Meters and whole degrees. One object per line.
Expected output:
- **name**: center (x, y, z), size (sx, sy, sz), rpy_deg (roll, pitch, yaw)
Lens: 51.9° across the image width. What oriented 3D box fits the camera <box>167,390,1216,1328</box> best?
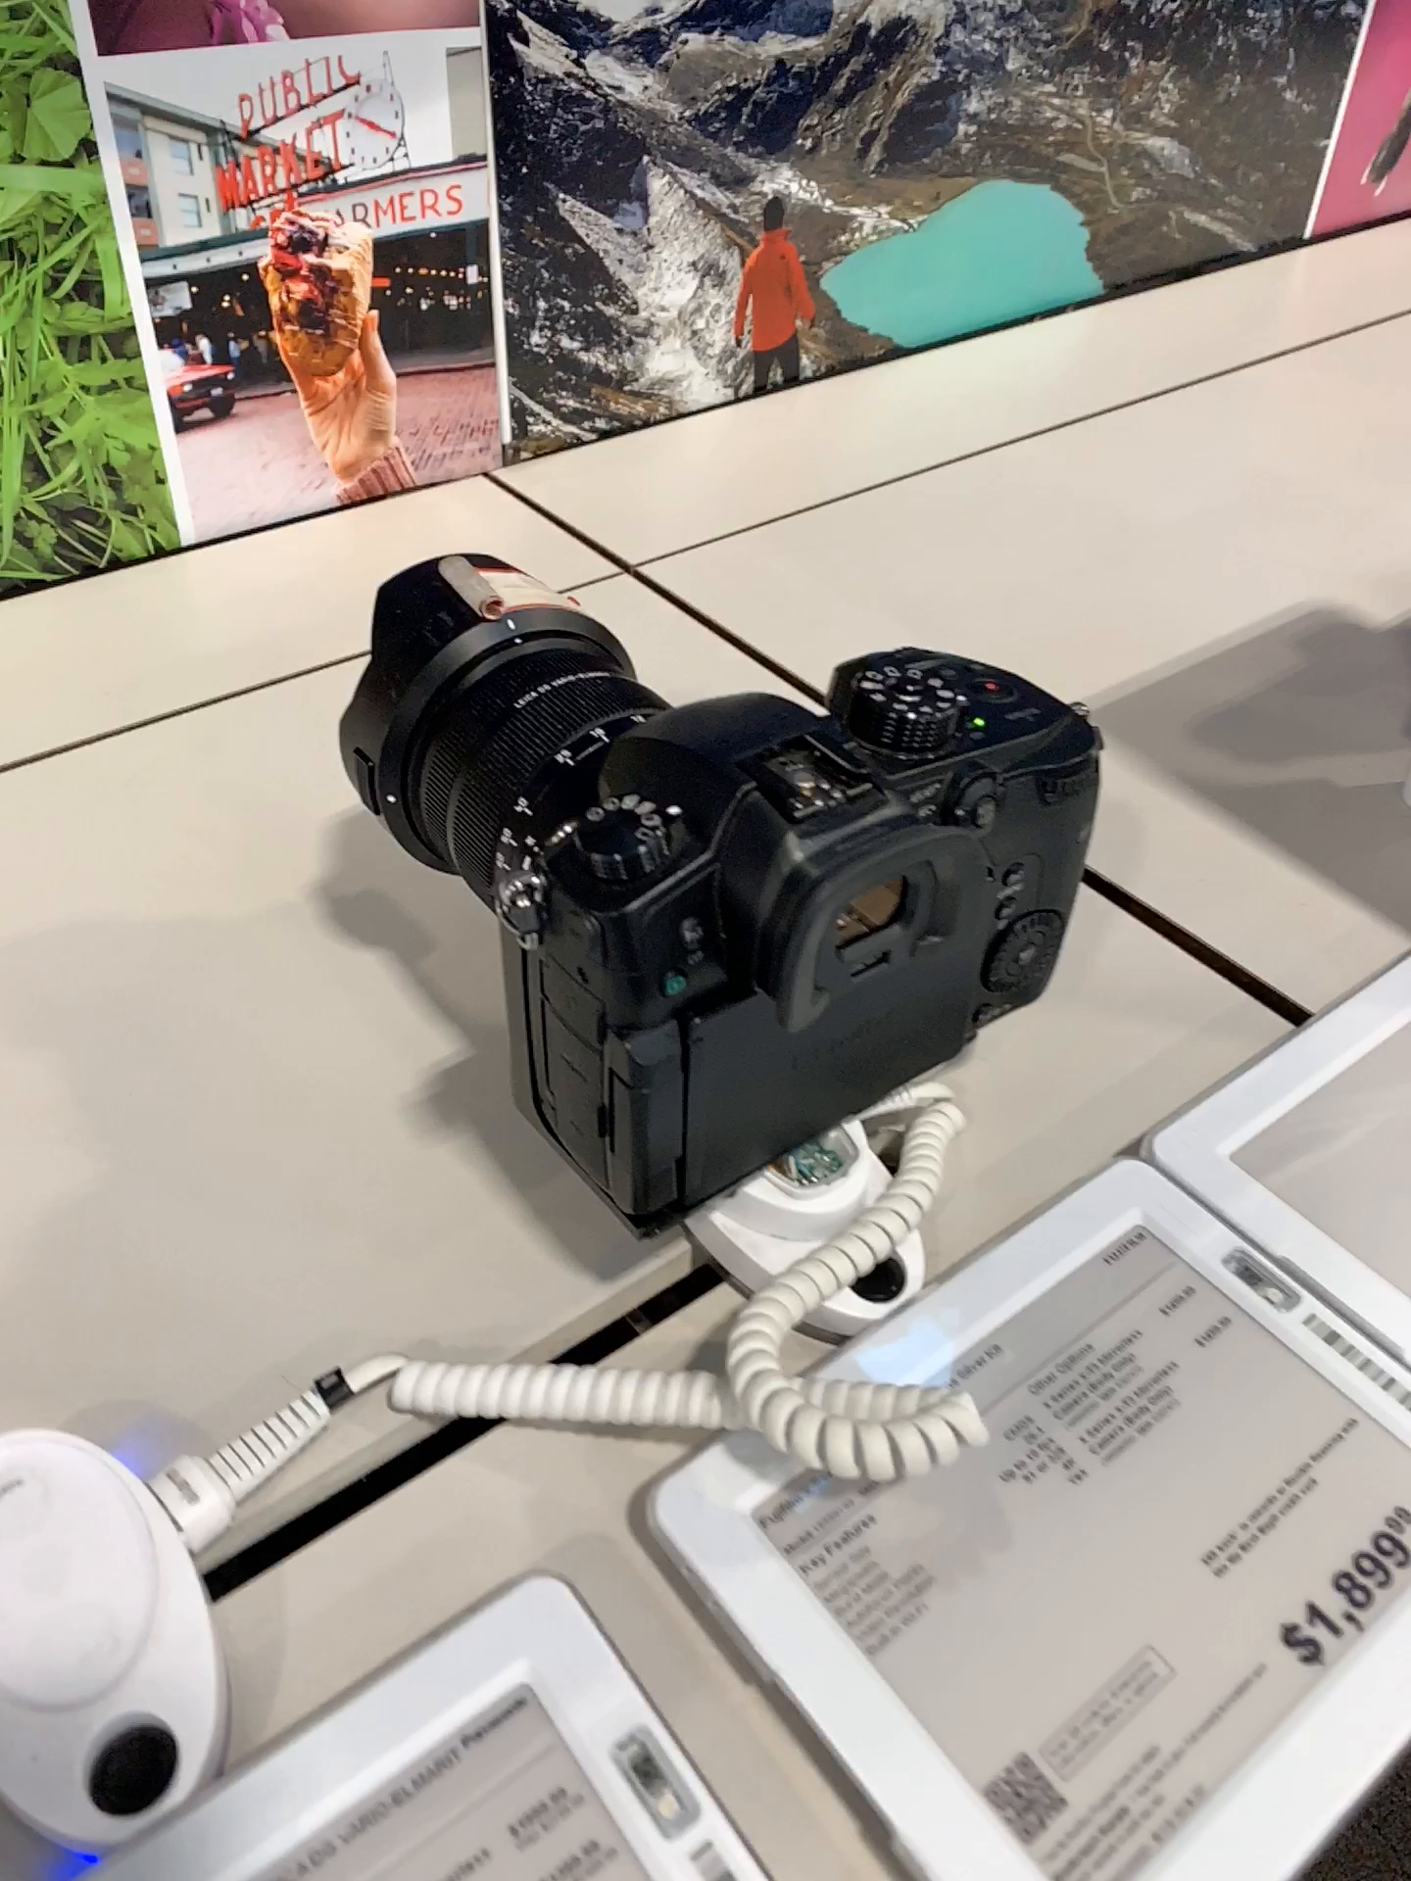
- **camera**: center (-0.012, -0.039, 0.357), size (0.140, 0.099, 0.201), rpy_deg (-28, 50, -29)
